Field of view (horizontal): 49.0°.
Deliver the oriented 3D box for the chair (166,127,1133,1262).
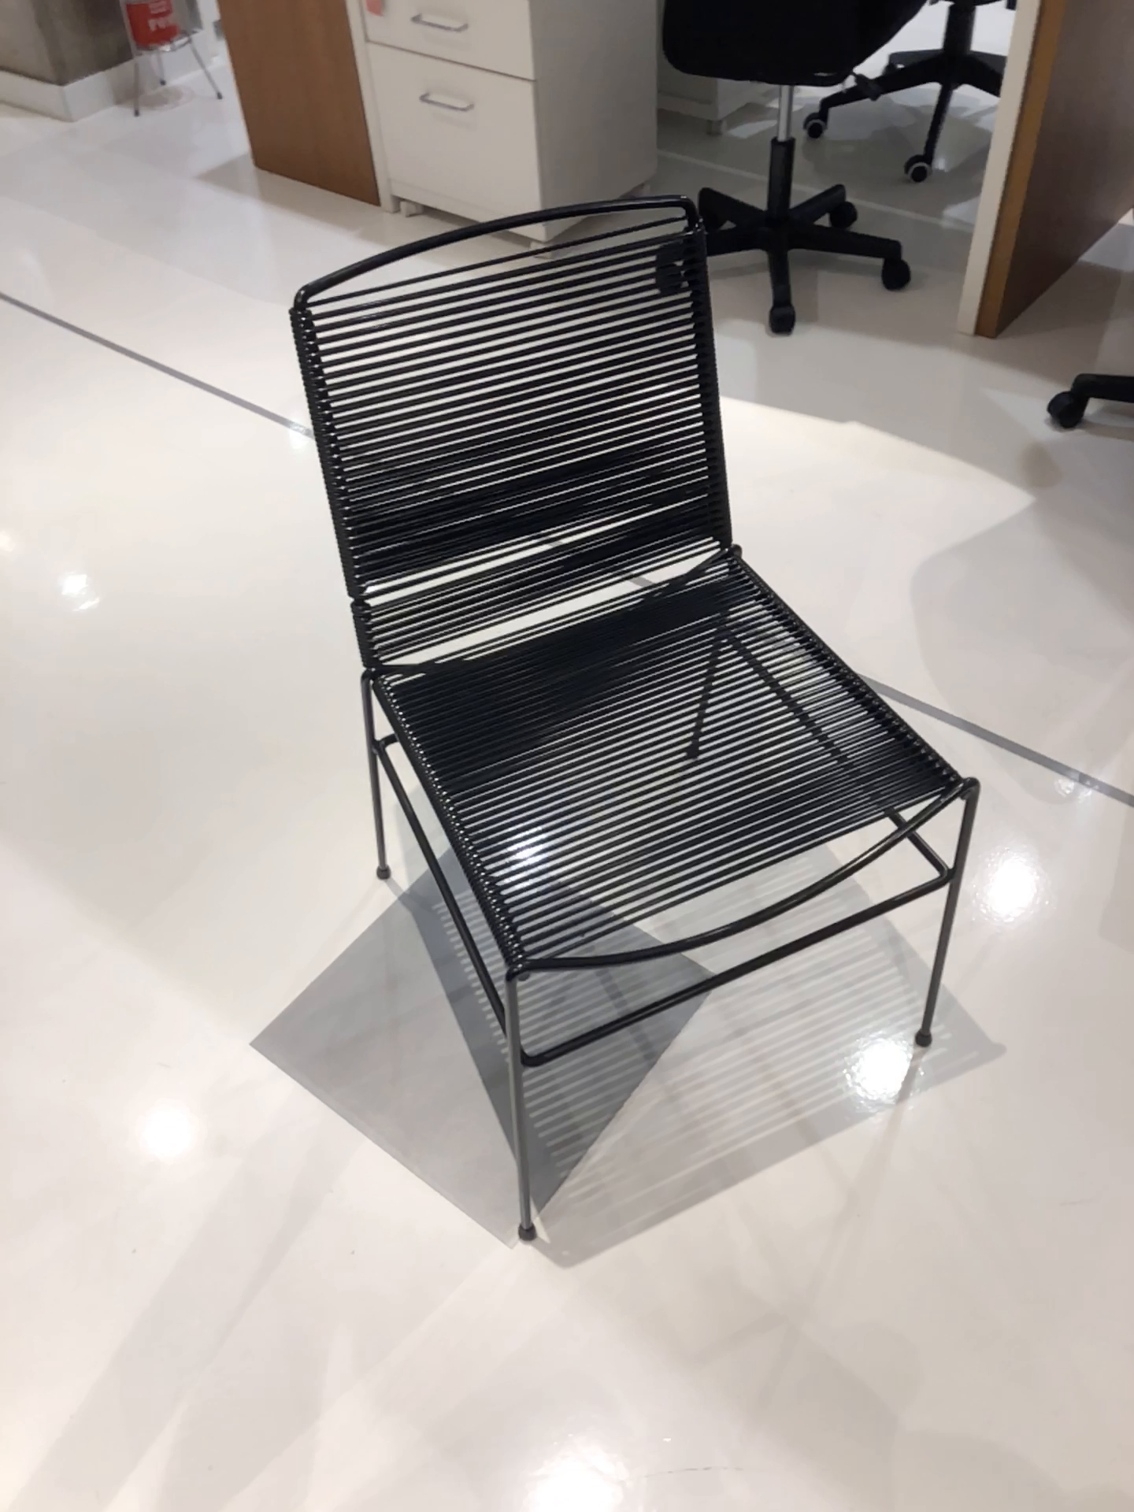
[{"bbox_3d":[0.045,-0.044,1.209,0.521,0.794,0.583,-21,49,-15],"label":"chair"}]
